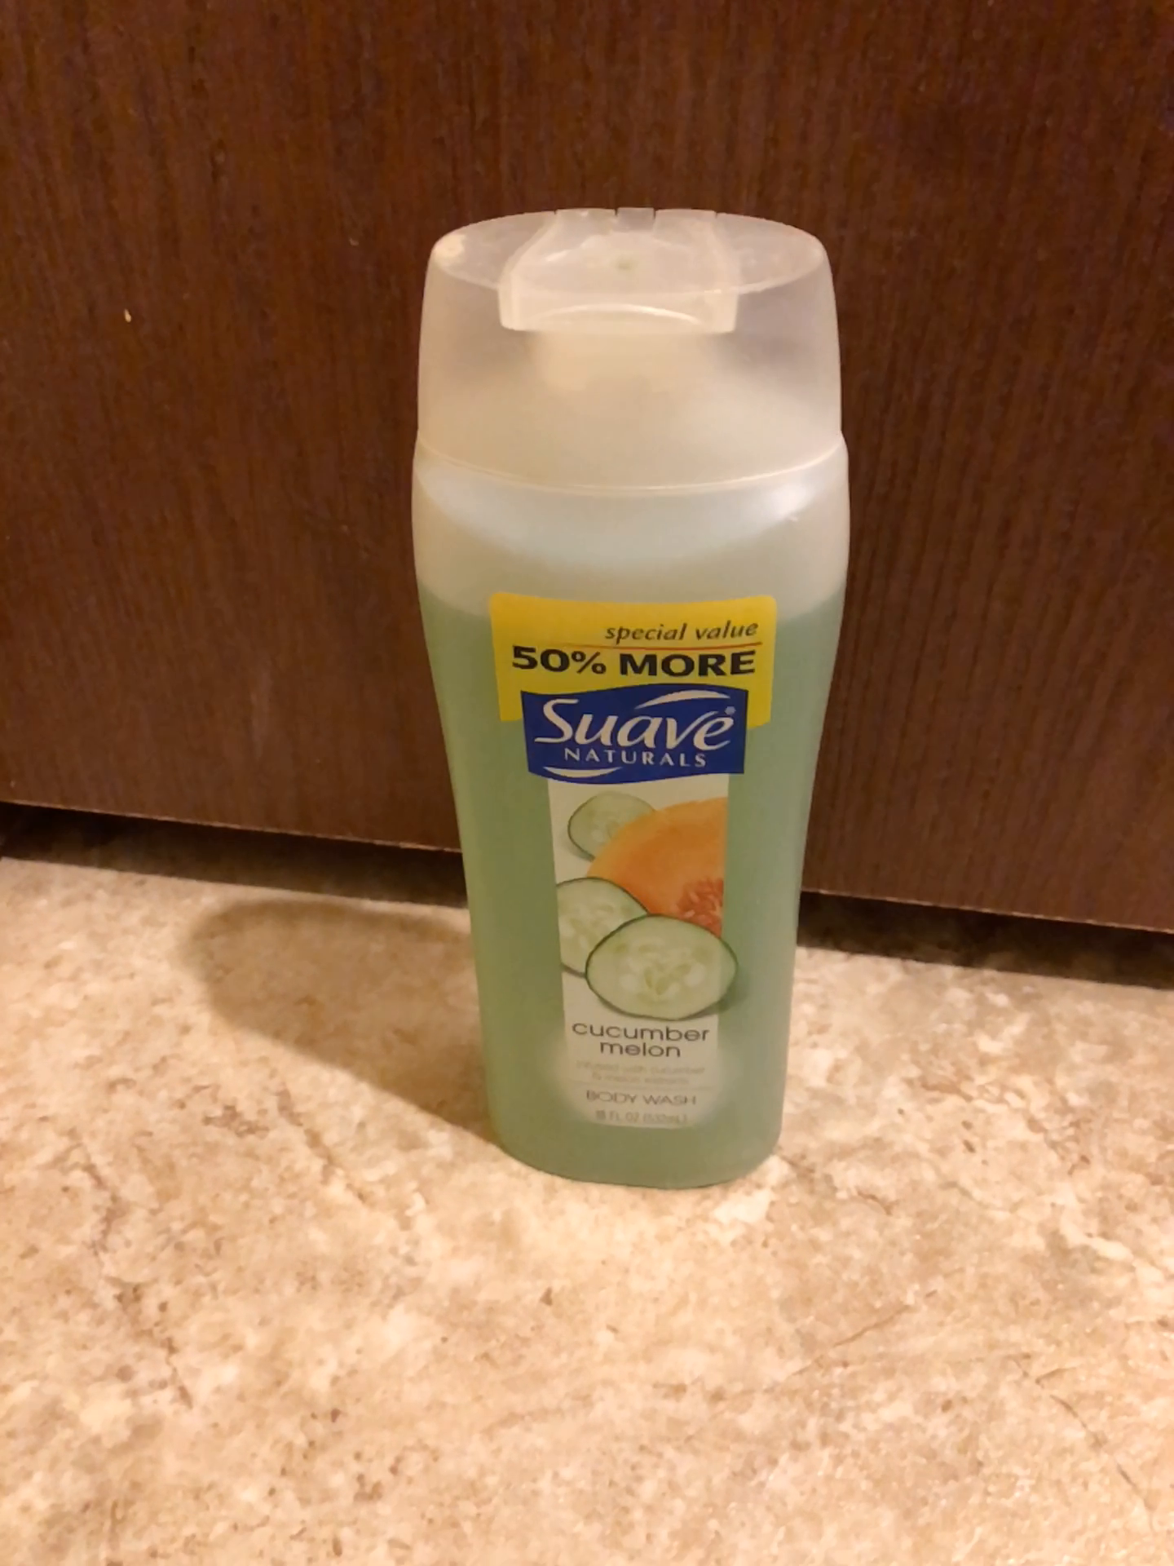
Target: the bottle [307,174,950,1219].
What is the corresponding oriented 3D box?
[{"bbox_3d":[0.011,0.004,0.281,0.090,0.239,0.050,2,41,4],"label":"bottle"}]
